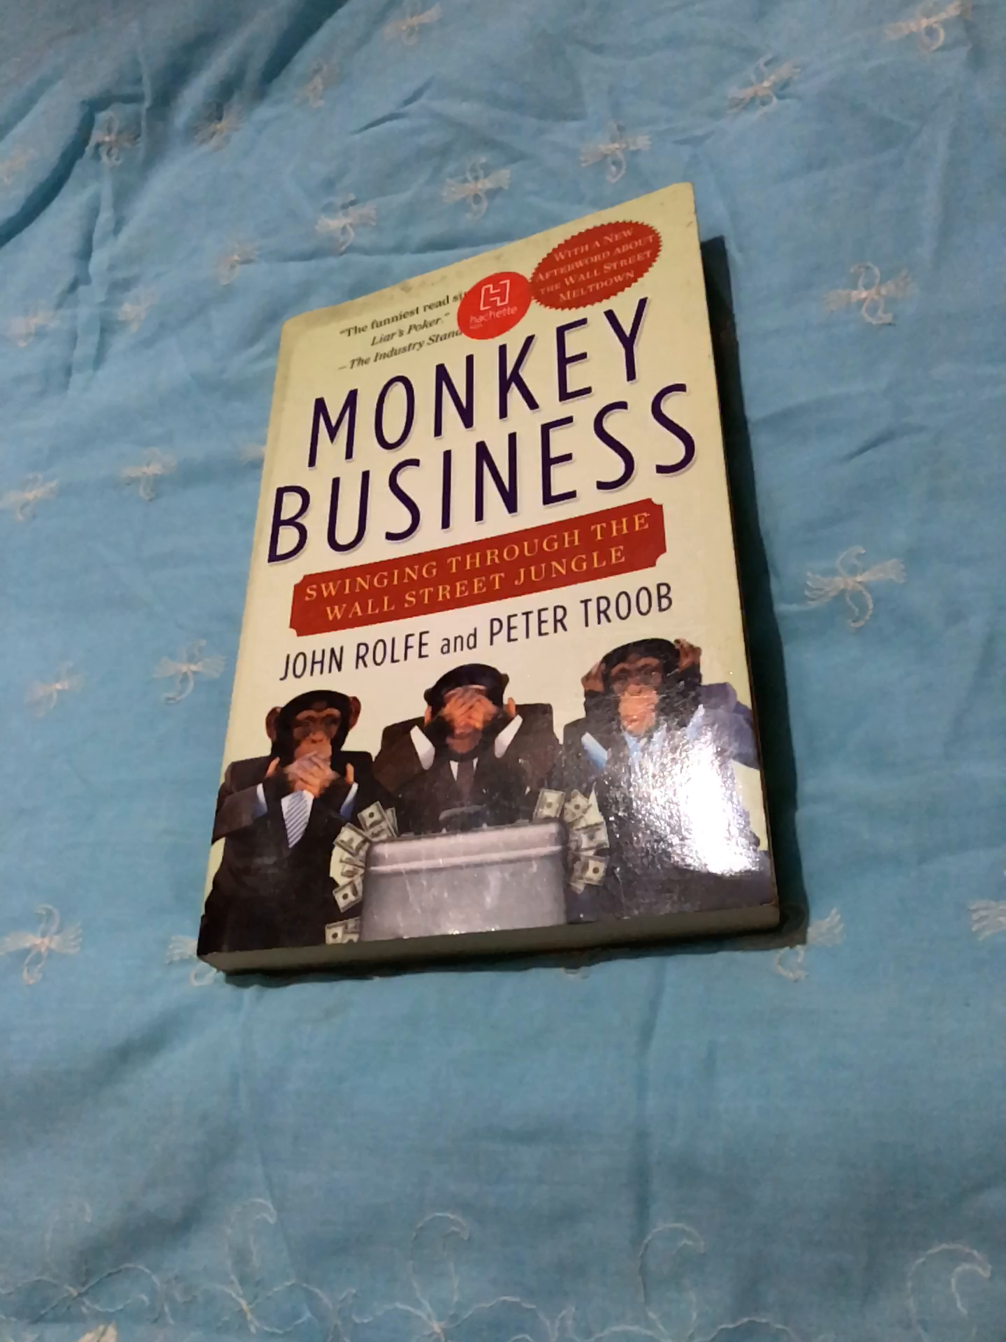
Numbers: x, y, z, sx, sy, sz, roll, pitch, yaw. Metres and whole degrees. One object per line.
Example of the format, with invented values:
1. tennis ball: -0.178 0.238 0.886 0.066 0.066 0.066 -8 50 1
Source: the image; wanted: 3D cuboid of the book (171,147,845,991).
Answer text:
1. book: -0.003 -0.035 0.343 0.170 0.040 0.240 -11 61 20
